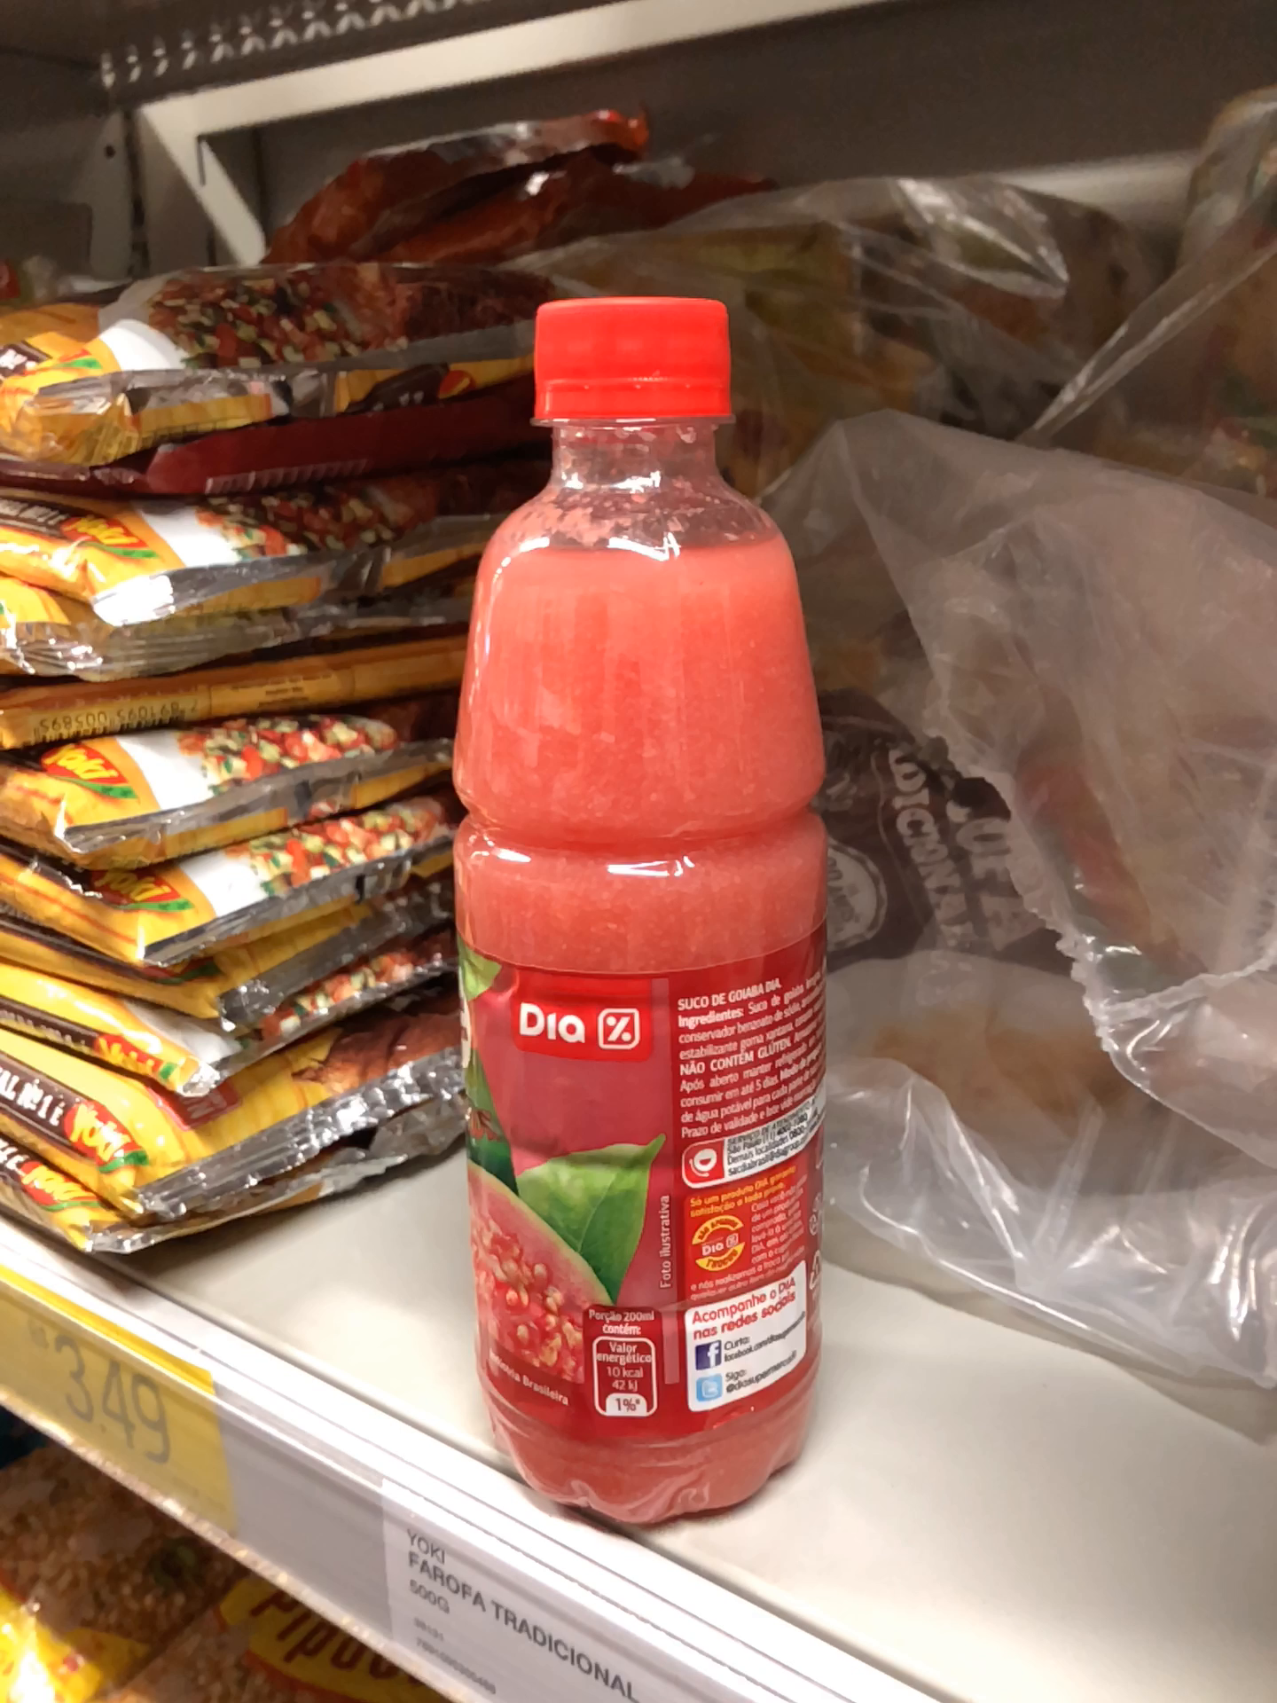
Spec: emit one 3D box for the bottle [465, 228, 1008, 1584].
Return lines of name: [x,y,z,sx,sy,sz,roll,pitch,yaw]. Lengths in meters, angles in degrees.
bottle: [0.012,0.011,0.255,0.070,0.219,0.070,-1,18,0]
